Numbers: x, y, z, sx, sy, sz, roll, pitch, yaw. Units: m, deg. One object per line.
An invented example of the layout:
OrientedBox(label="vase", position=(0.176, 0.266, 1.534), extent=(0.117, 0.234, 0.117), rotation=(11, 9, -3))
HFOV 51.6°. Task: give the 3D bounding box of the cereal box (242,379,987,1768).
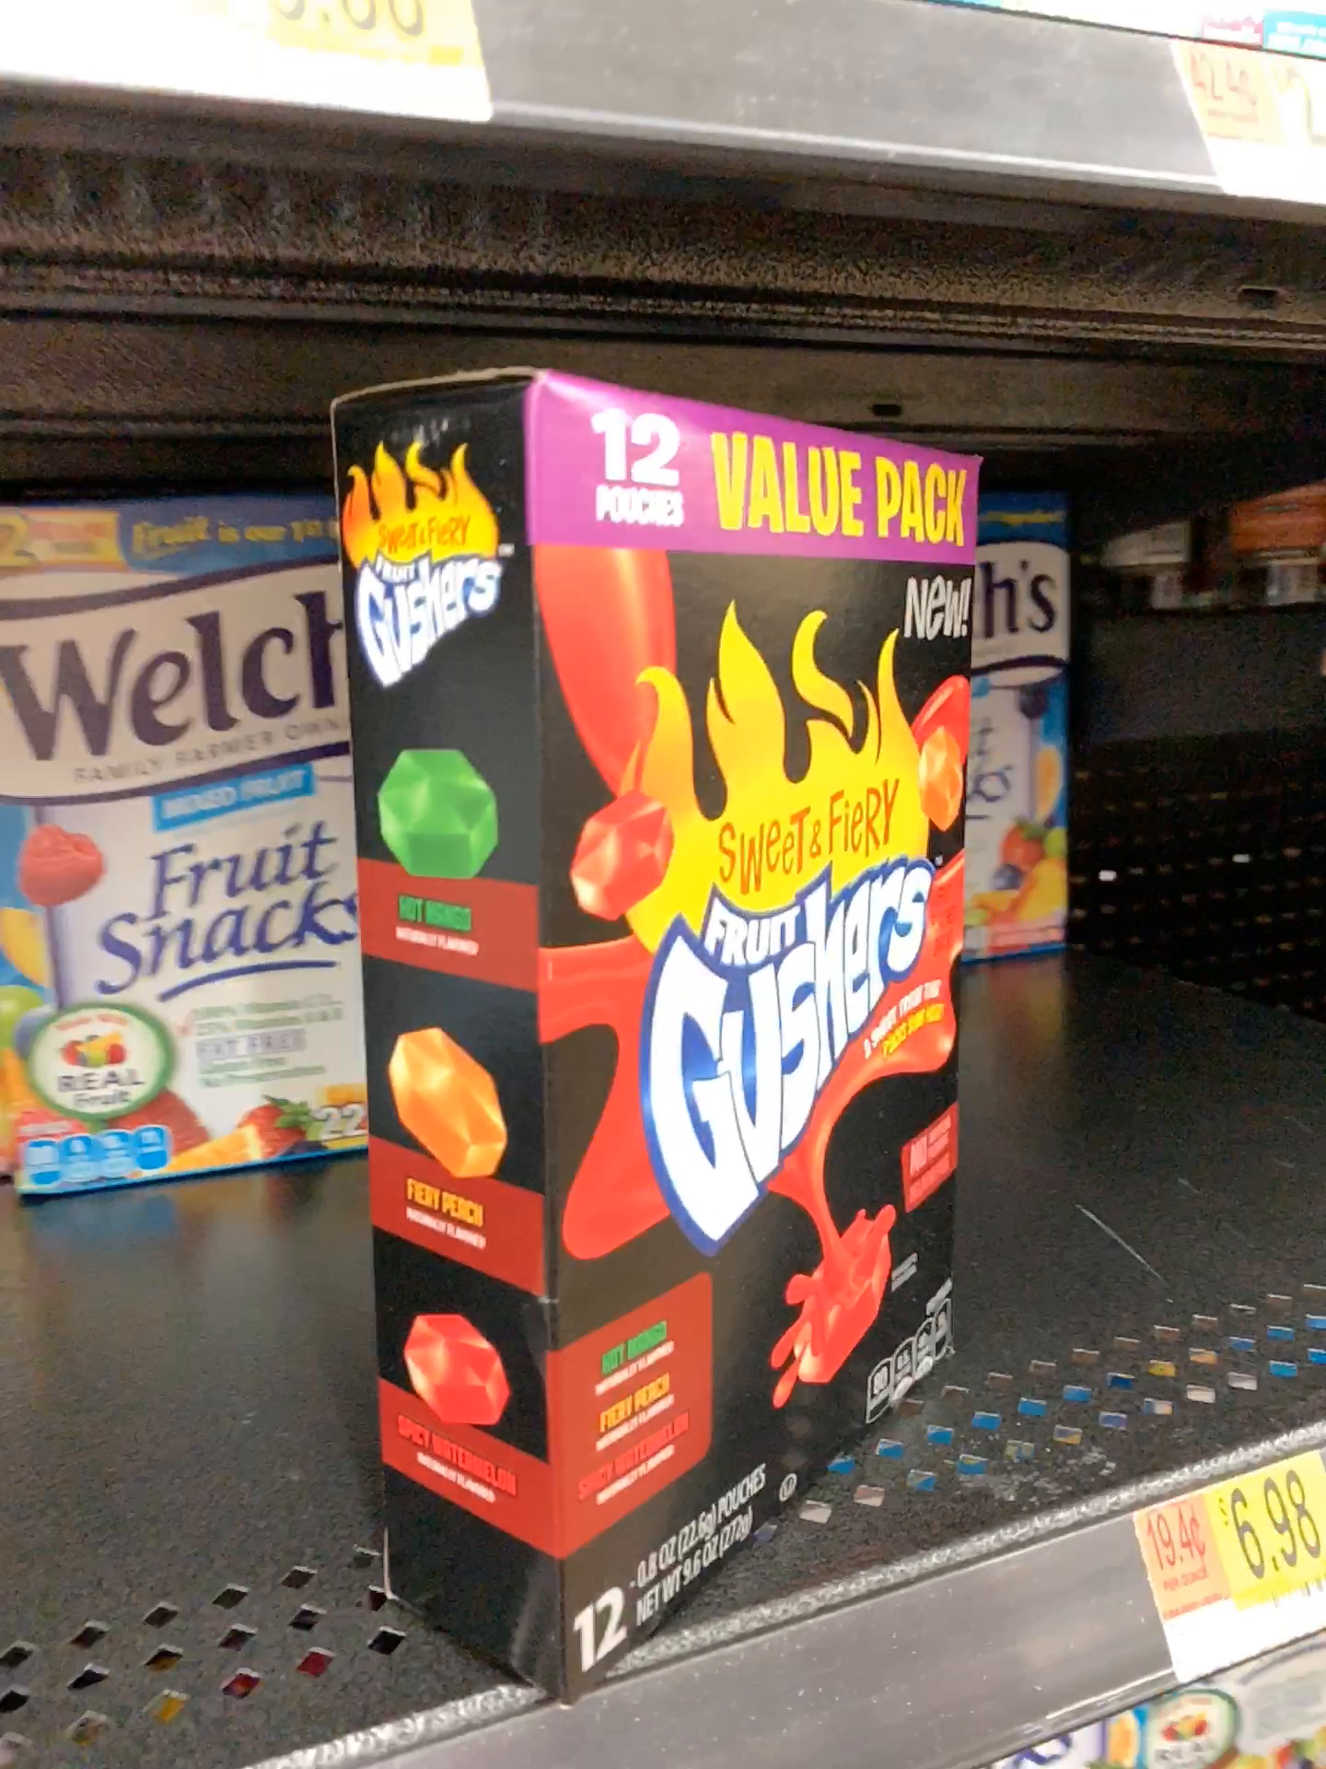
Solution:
OrientedBox(label="cereal box", position=(0.002, 0.026, 0.272), extent=(0.050, 0.219, 0.150), rotation=(9, 15, 37))
